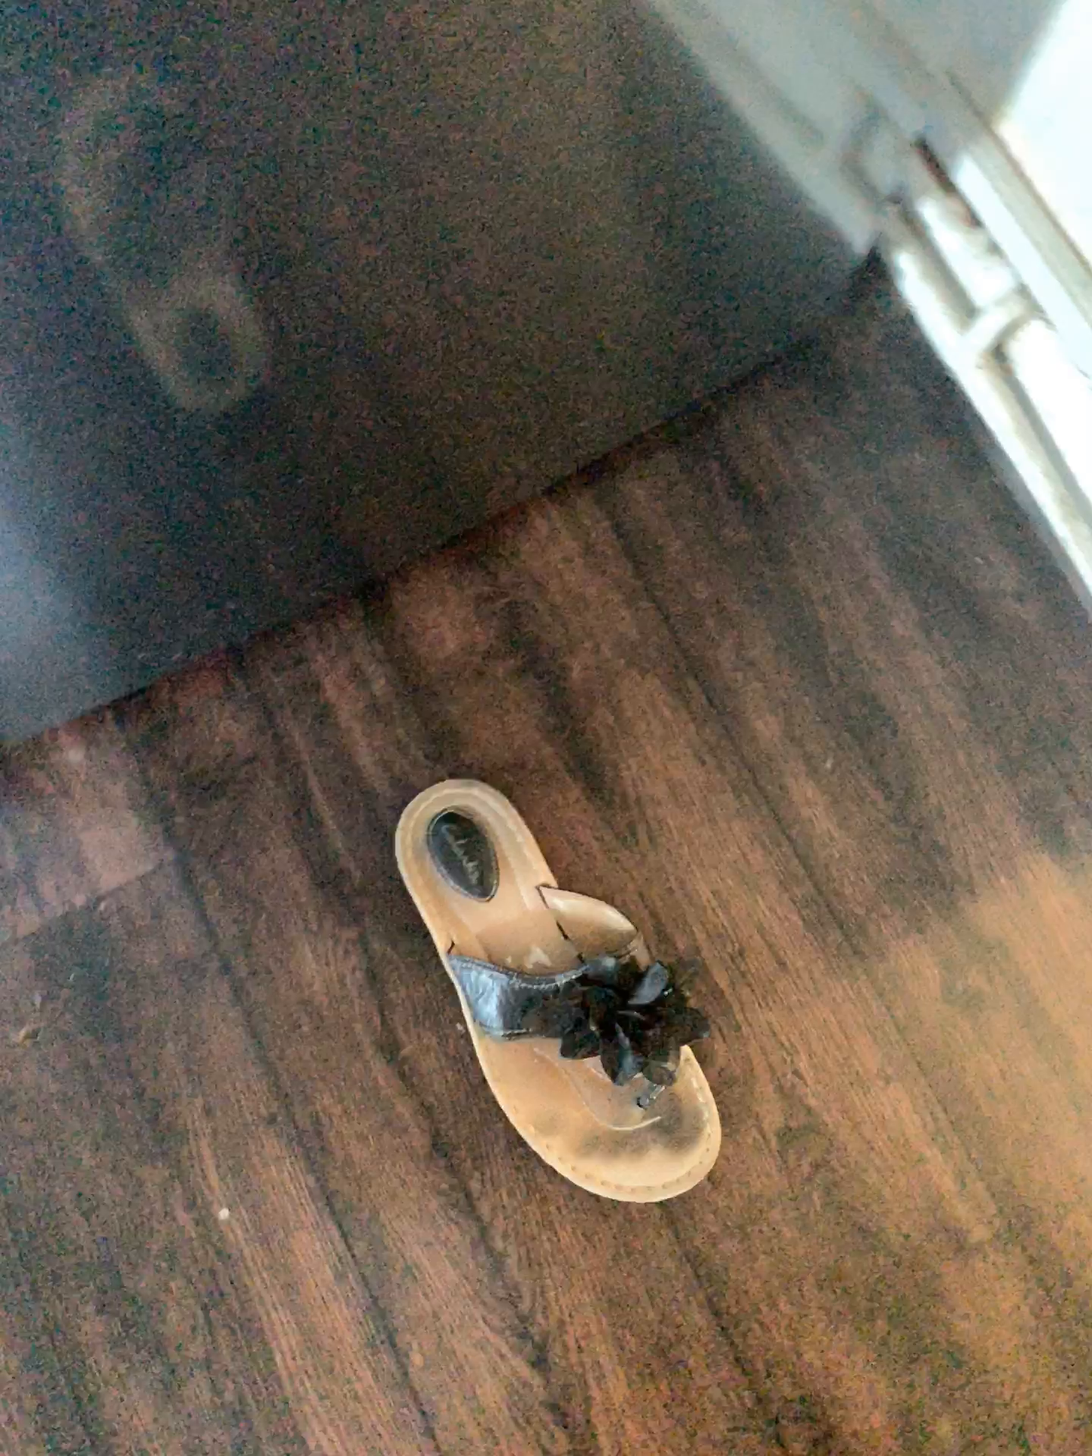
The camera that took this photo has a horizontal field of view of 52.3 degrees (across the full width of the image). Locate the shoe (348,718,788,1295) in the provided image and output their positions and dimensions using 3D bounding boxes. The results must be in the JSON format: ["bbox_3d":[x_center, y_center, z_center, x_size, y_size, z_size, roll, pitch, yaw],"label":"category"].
[{"bbox_3d":[0.007,0.133,0.567,0.110,0.050,0.250,-27,79,-5],"label":"shoe"}]
